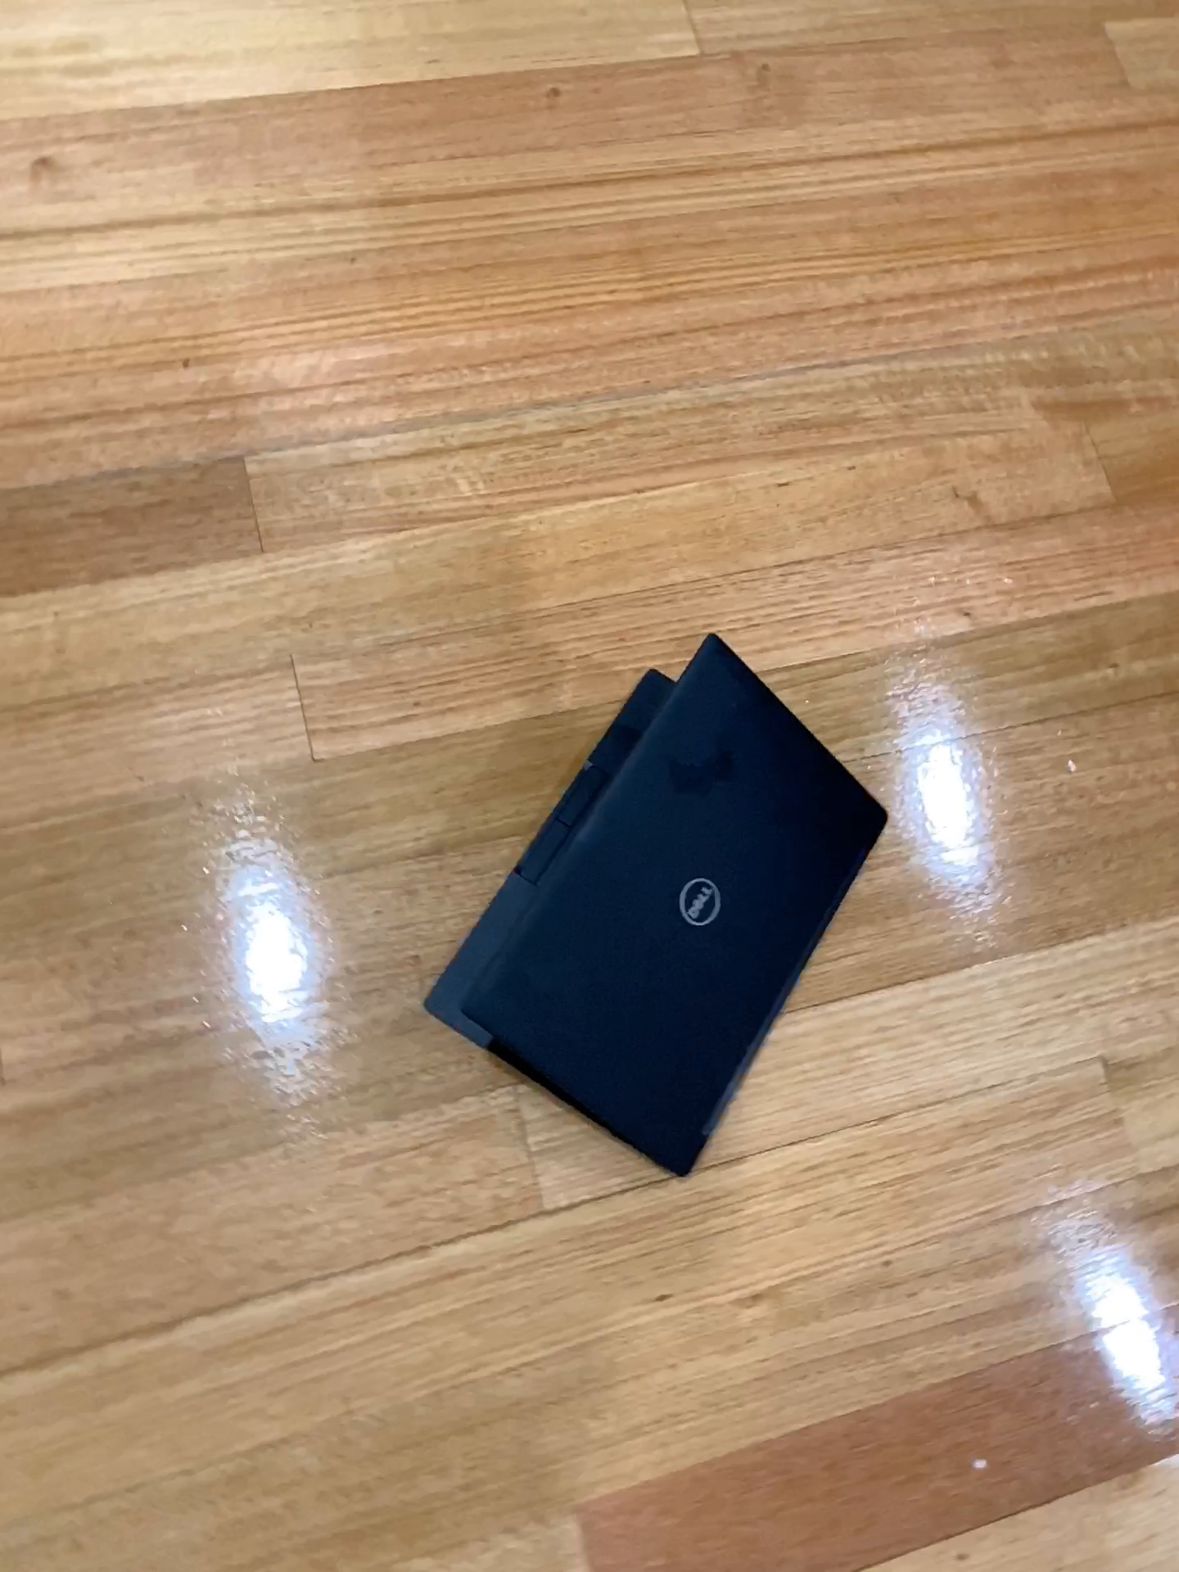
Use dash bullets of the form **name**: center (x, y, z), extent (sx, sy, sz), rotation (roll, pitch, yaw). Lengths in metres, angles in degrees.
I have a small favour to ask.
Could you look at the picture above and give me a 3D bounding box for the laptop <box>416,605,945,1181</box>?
- **laptop**: center (0.059, 0.072, 0.798), extent (0.206, 0.110, 0.297), rotation (34, 73, 1)
